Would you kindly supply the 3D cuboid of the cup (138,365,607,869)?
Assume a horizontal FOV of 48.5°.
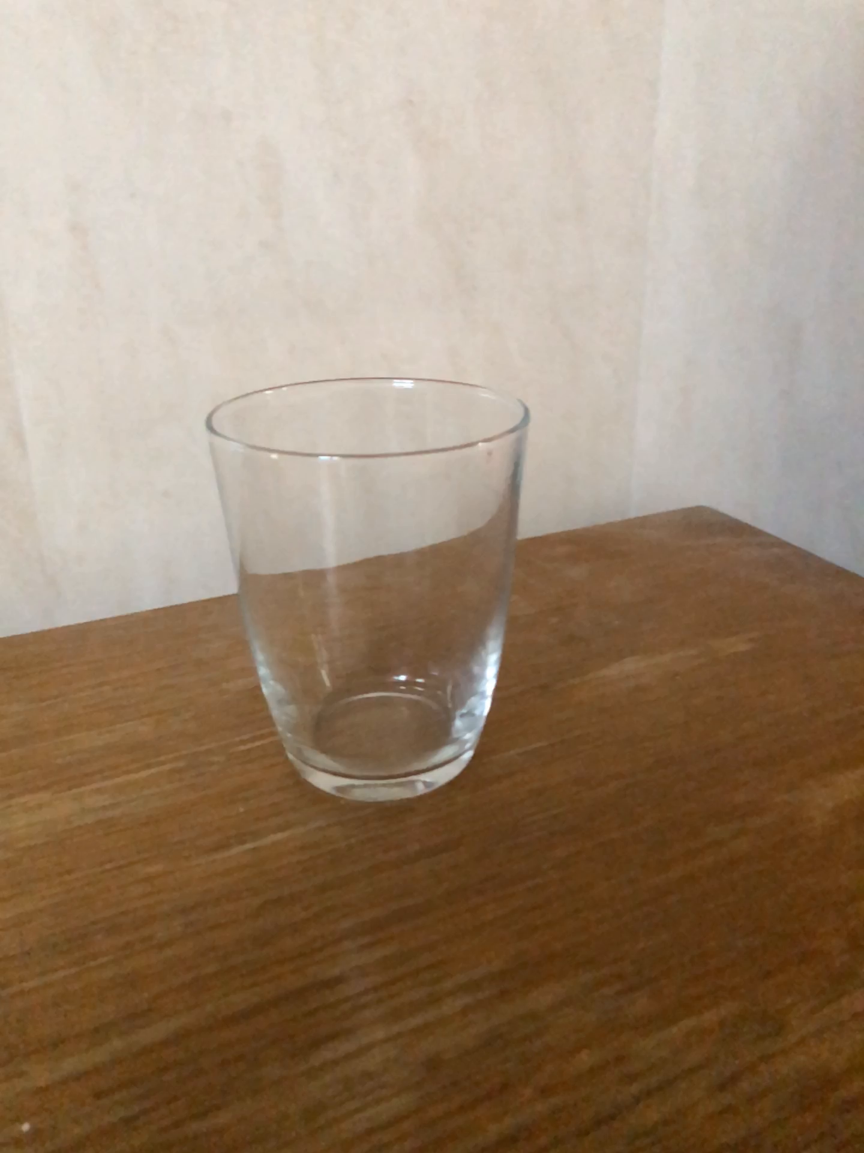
[{"bbox_3d":[-0.012,0.001,0.217,0.070,0.080,0.070,0,21,0],"label":"cup"}]
